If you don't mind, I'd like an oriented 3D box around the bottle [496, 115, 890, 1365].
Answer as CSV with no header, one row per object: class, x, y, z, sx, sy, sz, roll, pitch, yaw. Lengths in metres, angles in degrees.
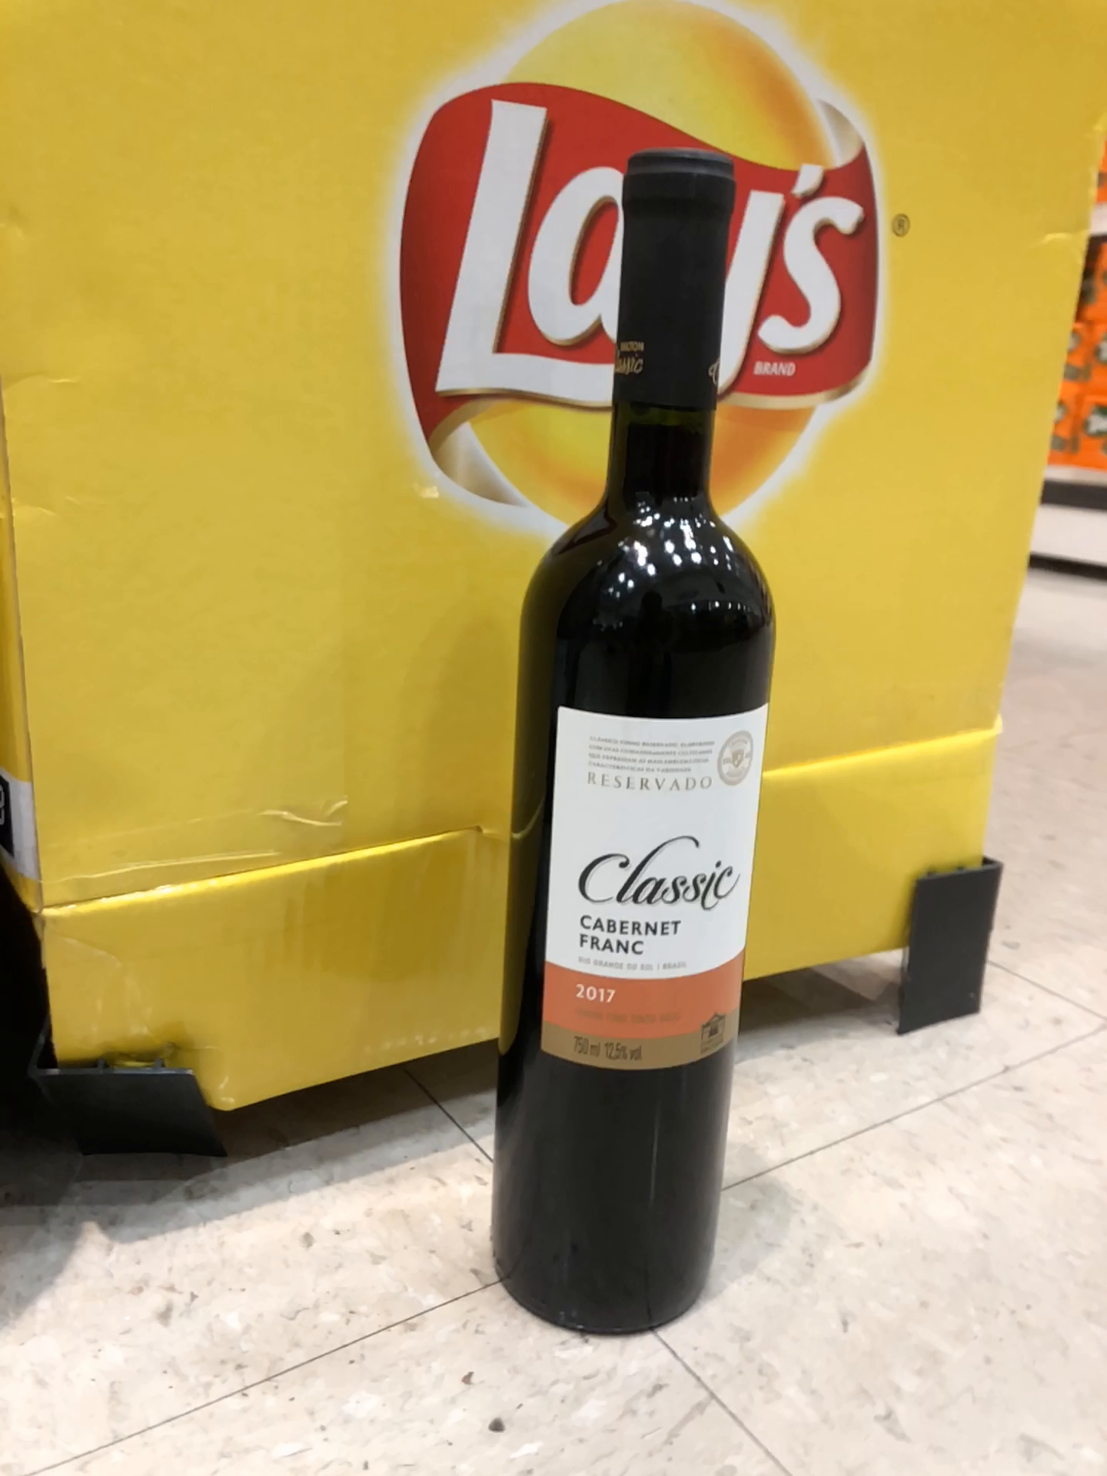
bottle,0.027,0.013,0.335,0.070,0.318,0.060,0,16,-9
